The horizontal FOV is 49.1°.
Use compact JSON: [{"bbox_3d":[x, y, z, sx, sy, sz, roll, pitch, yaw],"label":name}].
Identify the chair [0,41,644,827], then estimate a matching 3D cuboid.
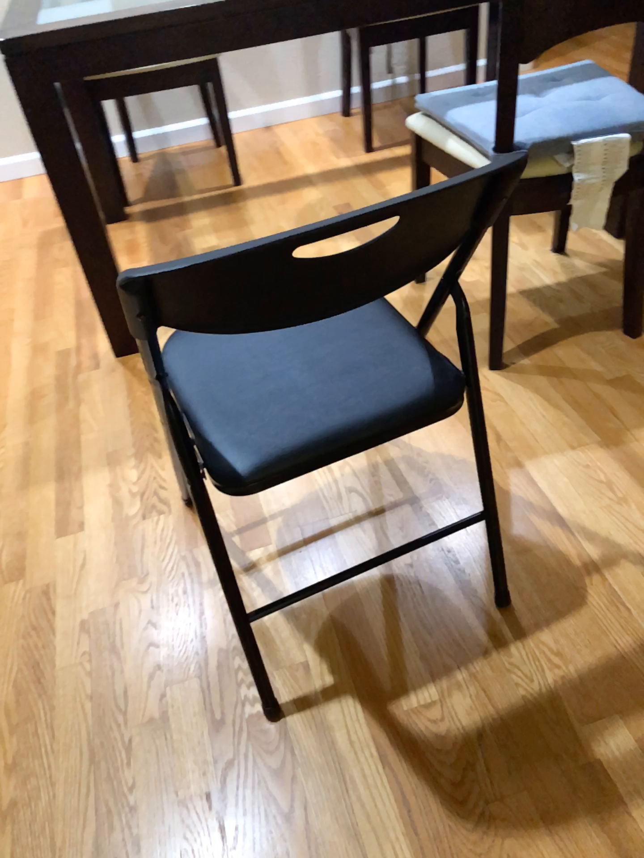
[{"bbox_3d":[0.008,-0.047,0.981,0.610,0.656,0.683,-21,43,-14],"label":"chair"}]
